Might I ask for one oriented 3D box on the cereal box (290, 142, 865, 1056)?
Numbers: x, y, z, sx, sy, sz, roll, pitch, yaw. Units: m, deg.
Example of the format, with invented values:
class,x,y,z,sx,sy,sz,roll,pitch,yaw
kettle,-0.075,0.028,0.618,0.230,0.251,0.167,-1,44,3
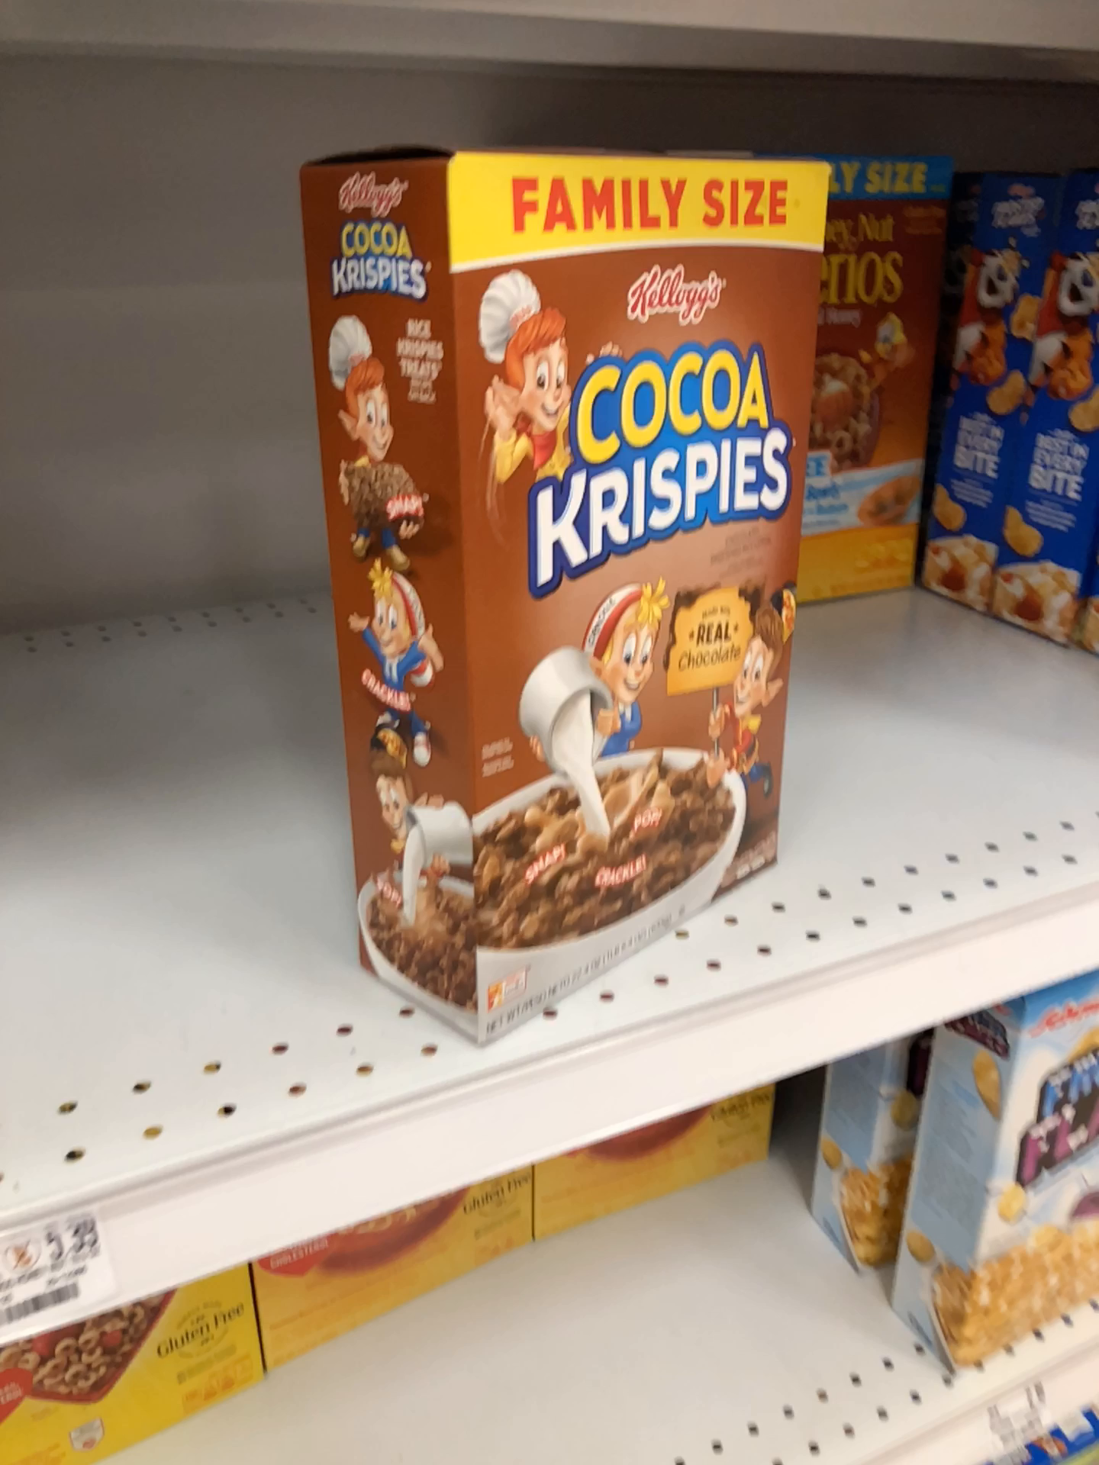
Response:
class,x,y,z,sx,sy,sz,roll,pitch,yaw
cereal box,0.019,-0.059,0.465,0.200,0.299,0.070,-23,34,-40
